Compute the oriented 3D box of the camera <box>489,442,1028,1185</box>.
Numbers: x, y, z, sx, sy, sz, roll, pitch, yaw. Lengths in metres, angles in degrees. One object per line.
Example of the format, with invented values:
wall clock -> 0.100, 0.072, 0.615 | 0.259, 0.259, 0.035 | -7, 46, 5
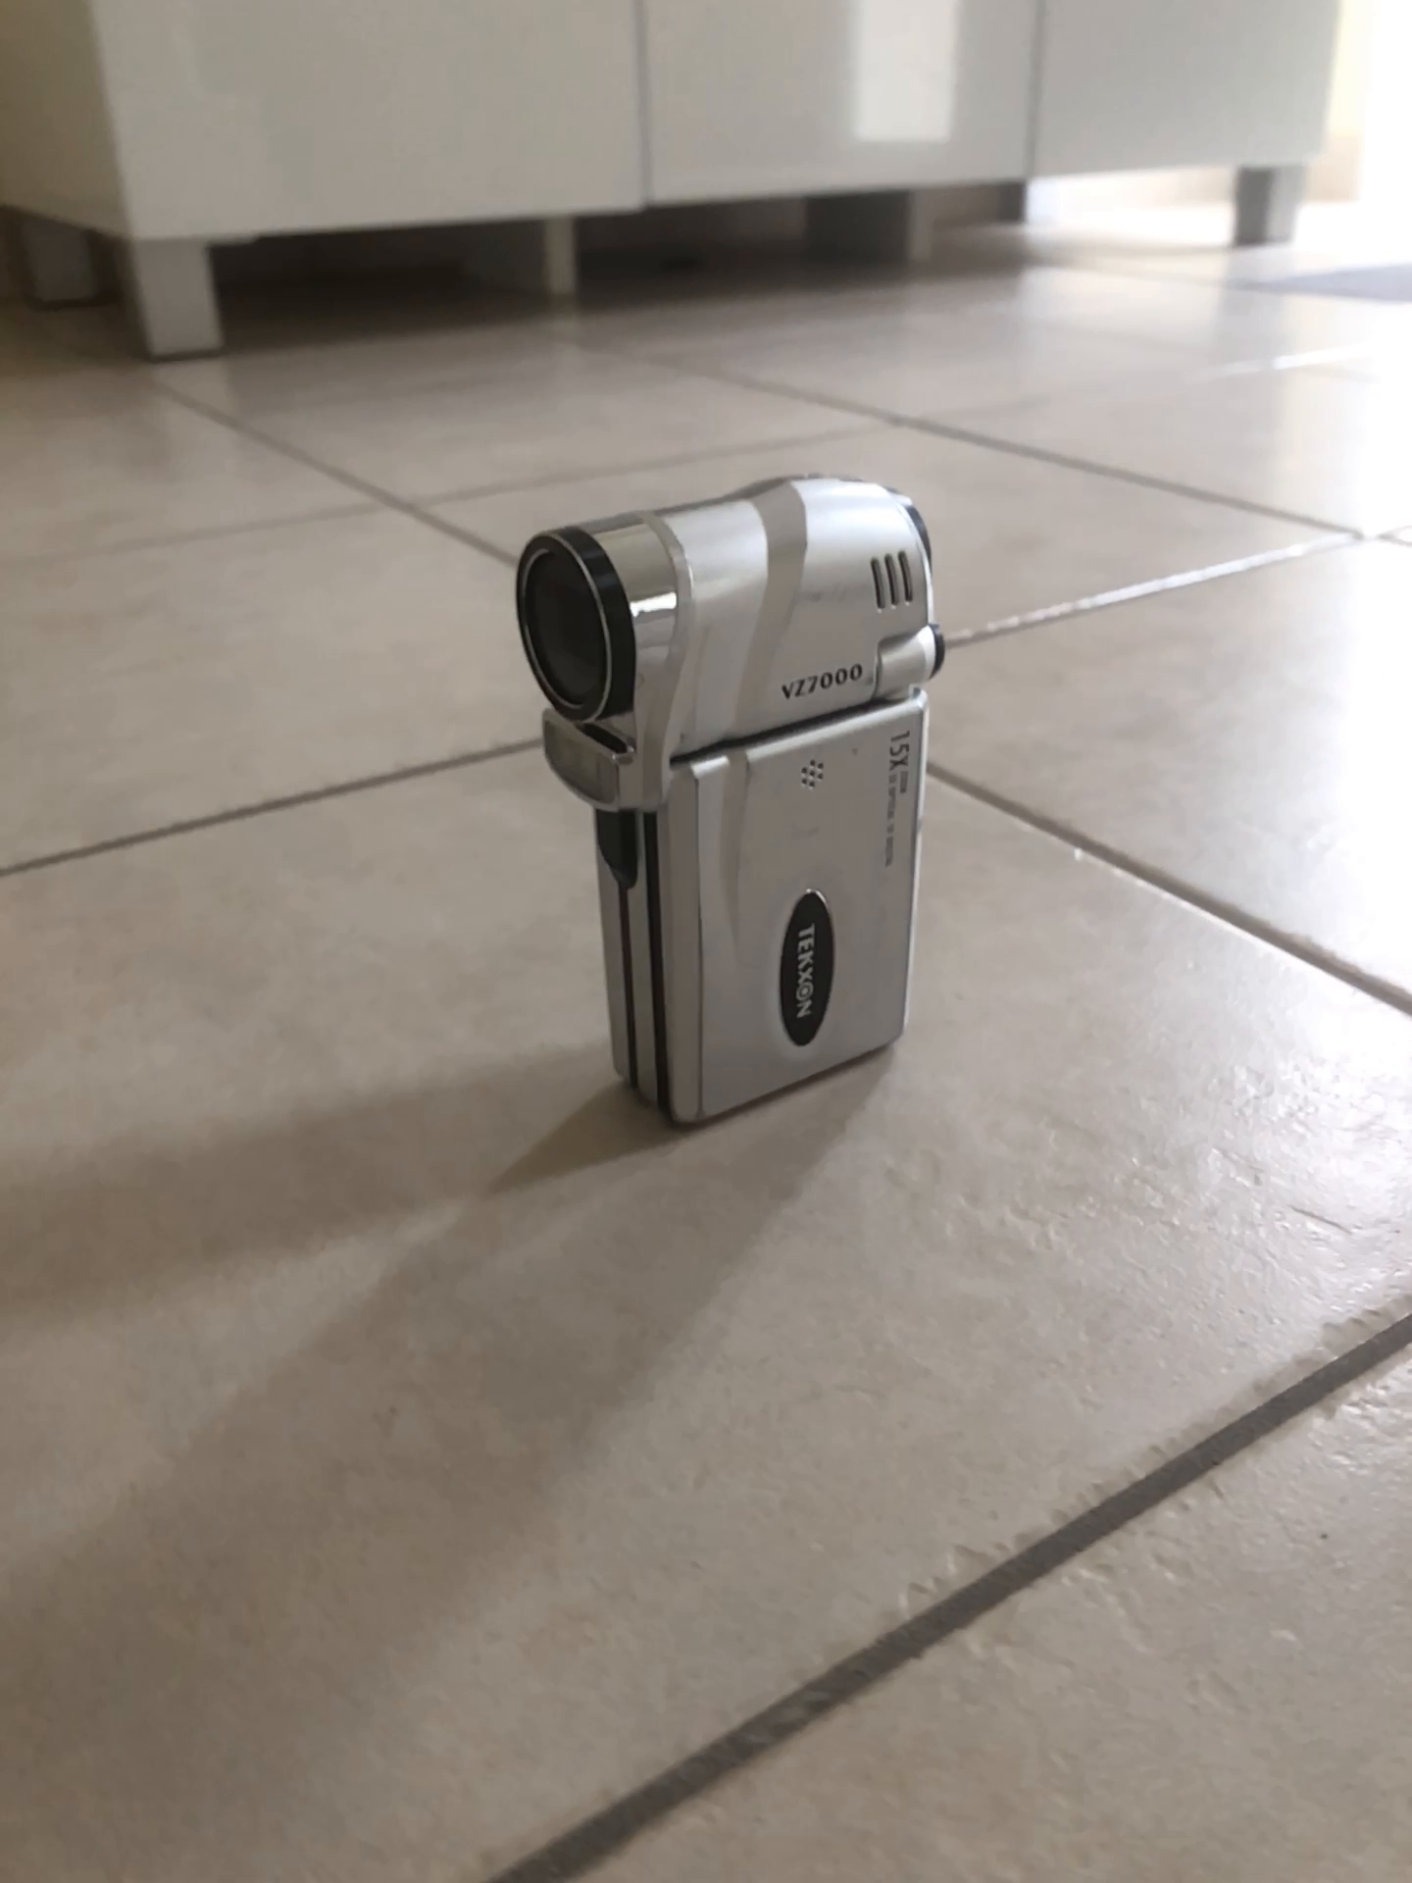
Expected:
camera -> 0.011, -0.025, 0.283 | 0.080, 0.109, 0.040 | -19, 33, -30
